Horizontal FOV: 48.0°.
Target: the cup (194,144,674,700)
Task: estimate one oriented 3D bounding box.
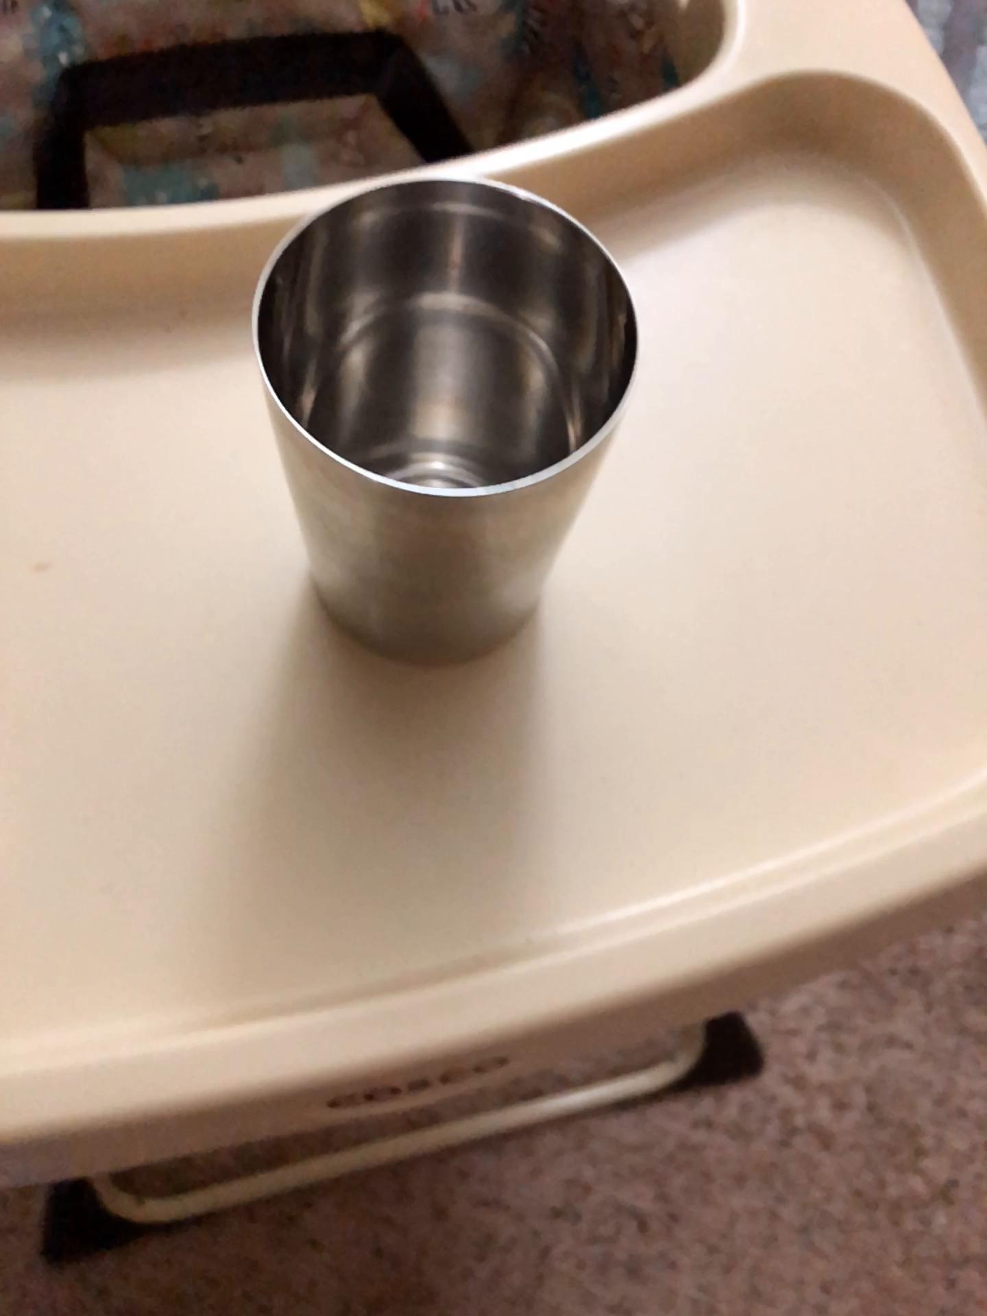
[{"bbox_3d":[-0.016,-0.045,0.243,0.073,0.091,0.072,2,70,-5],"label":"cup"}]
